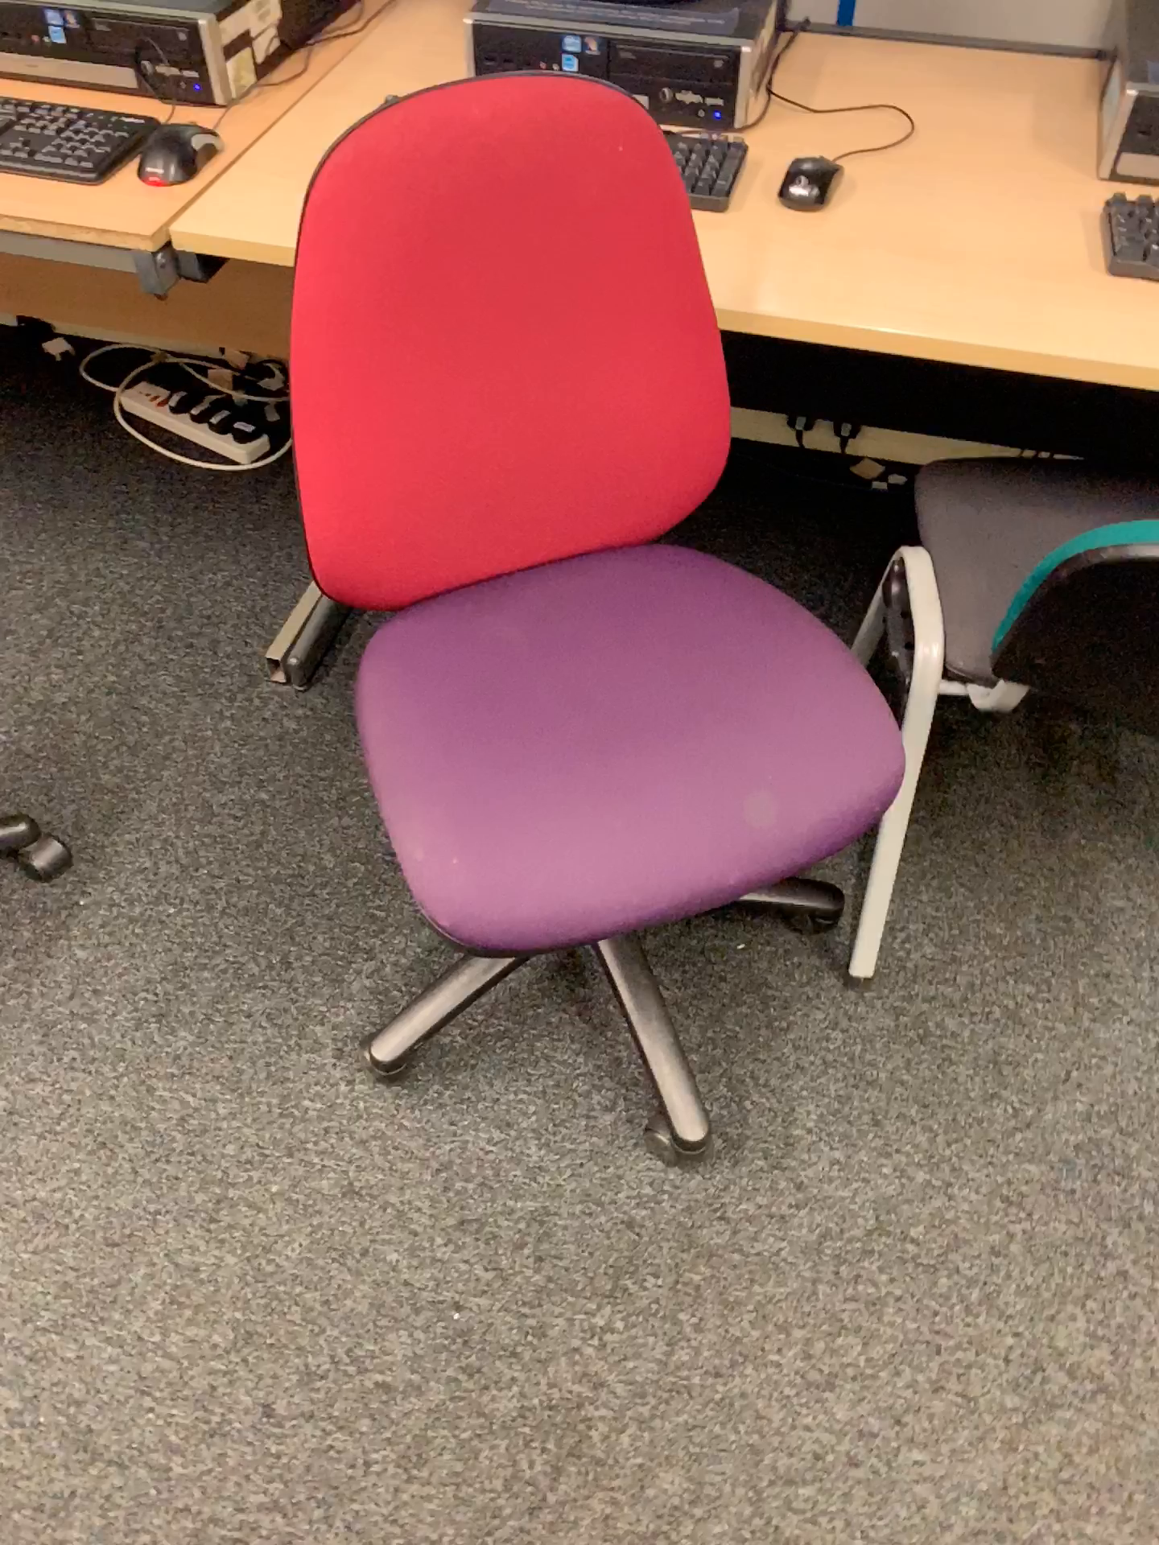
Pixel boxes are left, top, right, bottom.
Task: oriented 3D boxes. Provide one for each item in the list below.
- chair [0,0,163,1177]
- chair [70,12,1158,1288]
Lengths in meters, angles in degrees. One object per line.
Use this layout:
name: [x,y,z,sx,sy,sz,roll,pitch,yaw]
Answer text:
chair: [-0.905,-0.131,1.099,0.598,0.829,0.608,8,49,7]
chair: [0.027,-0.079,1.085,0.653,0.869,0.603,-15,50,-13]
